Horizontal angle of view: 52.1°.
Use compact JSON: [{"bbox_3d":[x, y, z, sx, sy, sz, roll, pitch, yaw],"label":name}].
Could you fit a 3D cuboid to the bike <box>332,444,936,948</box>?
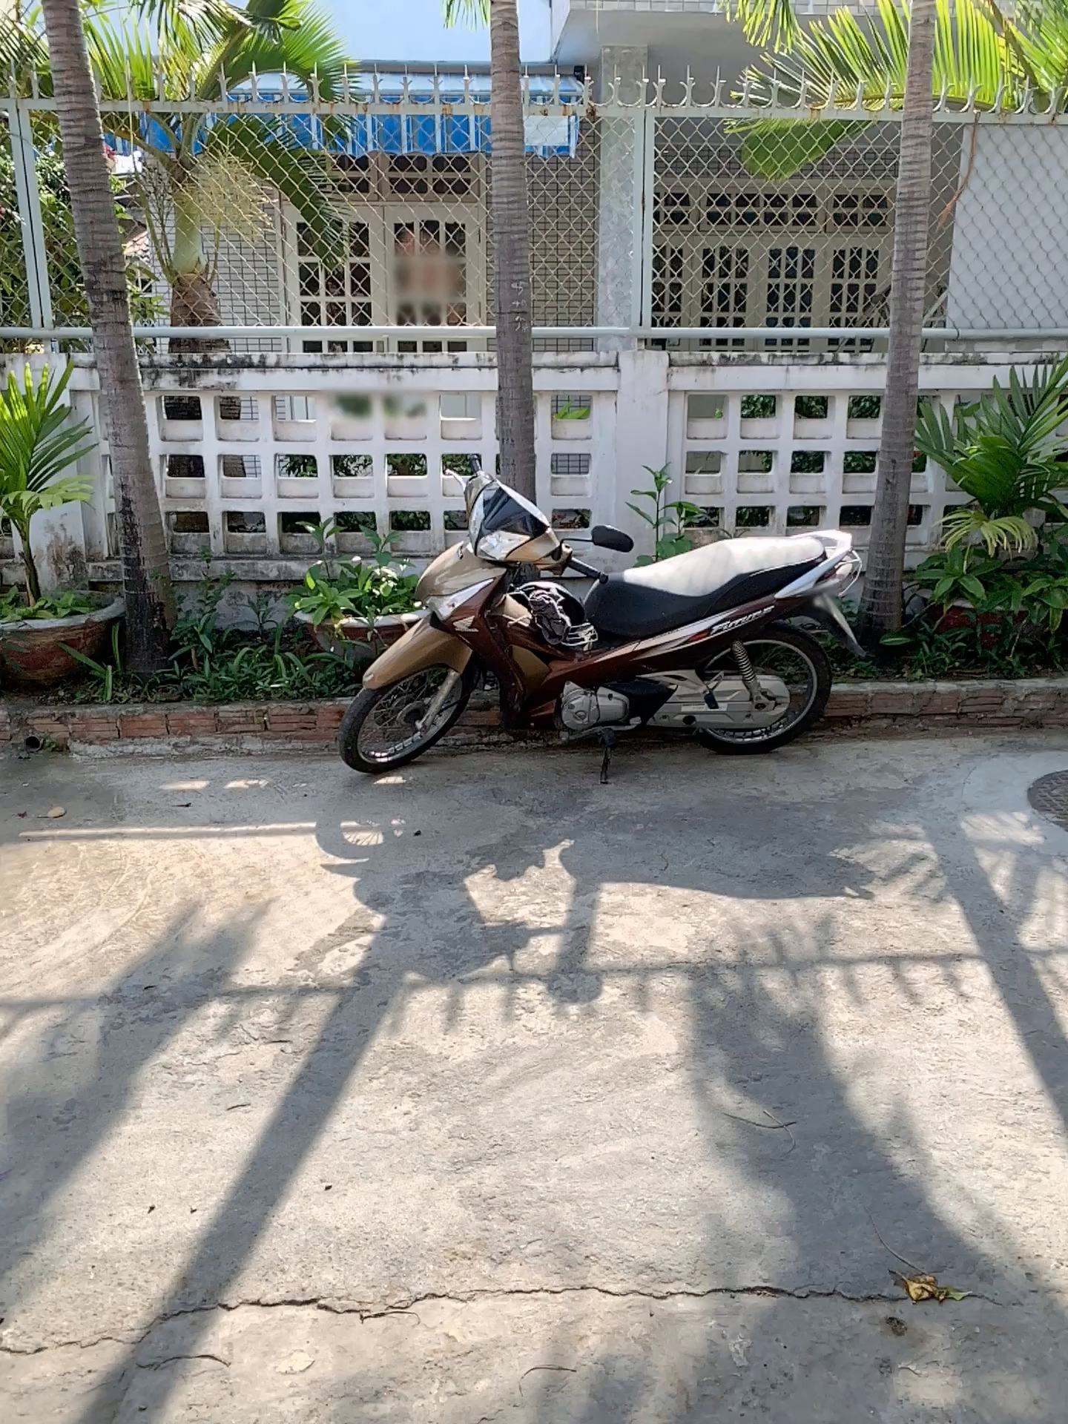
[{"bbox_3d":[0.331,-0.144,3.792,1.975,1.443,0.614,-5,17,-16],"label":"bike"}]
